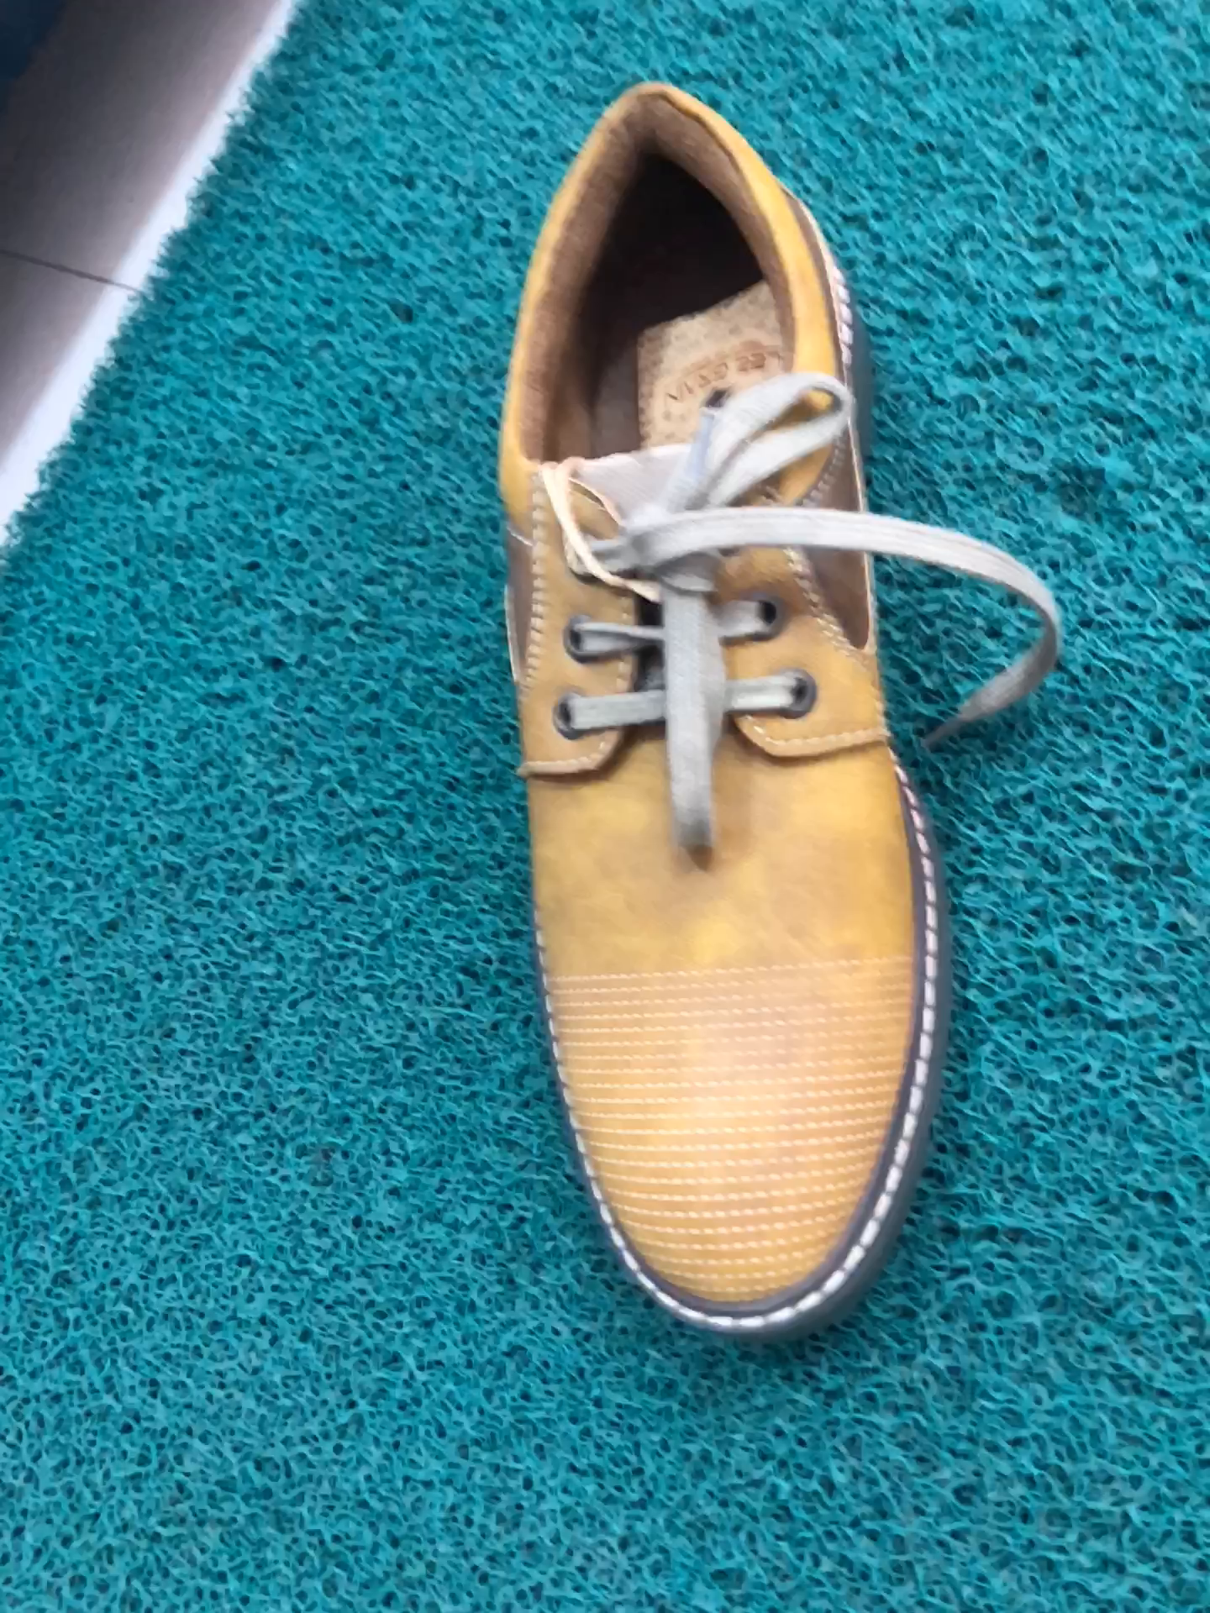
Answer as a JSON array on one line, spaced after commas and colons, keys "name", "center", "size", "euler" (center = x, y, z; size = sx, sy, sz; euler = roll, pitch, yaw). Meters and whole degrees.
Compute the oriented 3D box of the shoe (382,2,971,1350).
[{"name": "shoe", "center": [0.022, -0.029, 0.342], "size": [0.100, 0.110, 0.300], "euler": [-7, 71, 21]}]
